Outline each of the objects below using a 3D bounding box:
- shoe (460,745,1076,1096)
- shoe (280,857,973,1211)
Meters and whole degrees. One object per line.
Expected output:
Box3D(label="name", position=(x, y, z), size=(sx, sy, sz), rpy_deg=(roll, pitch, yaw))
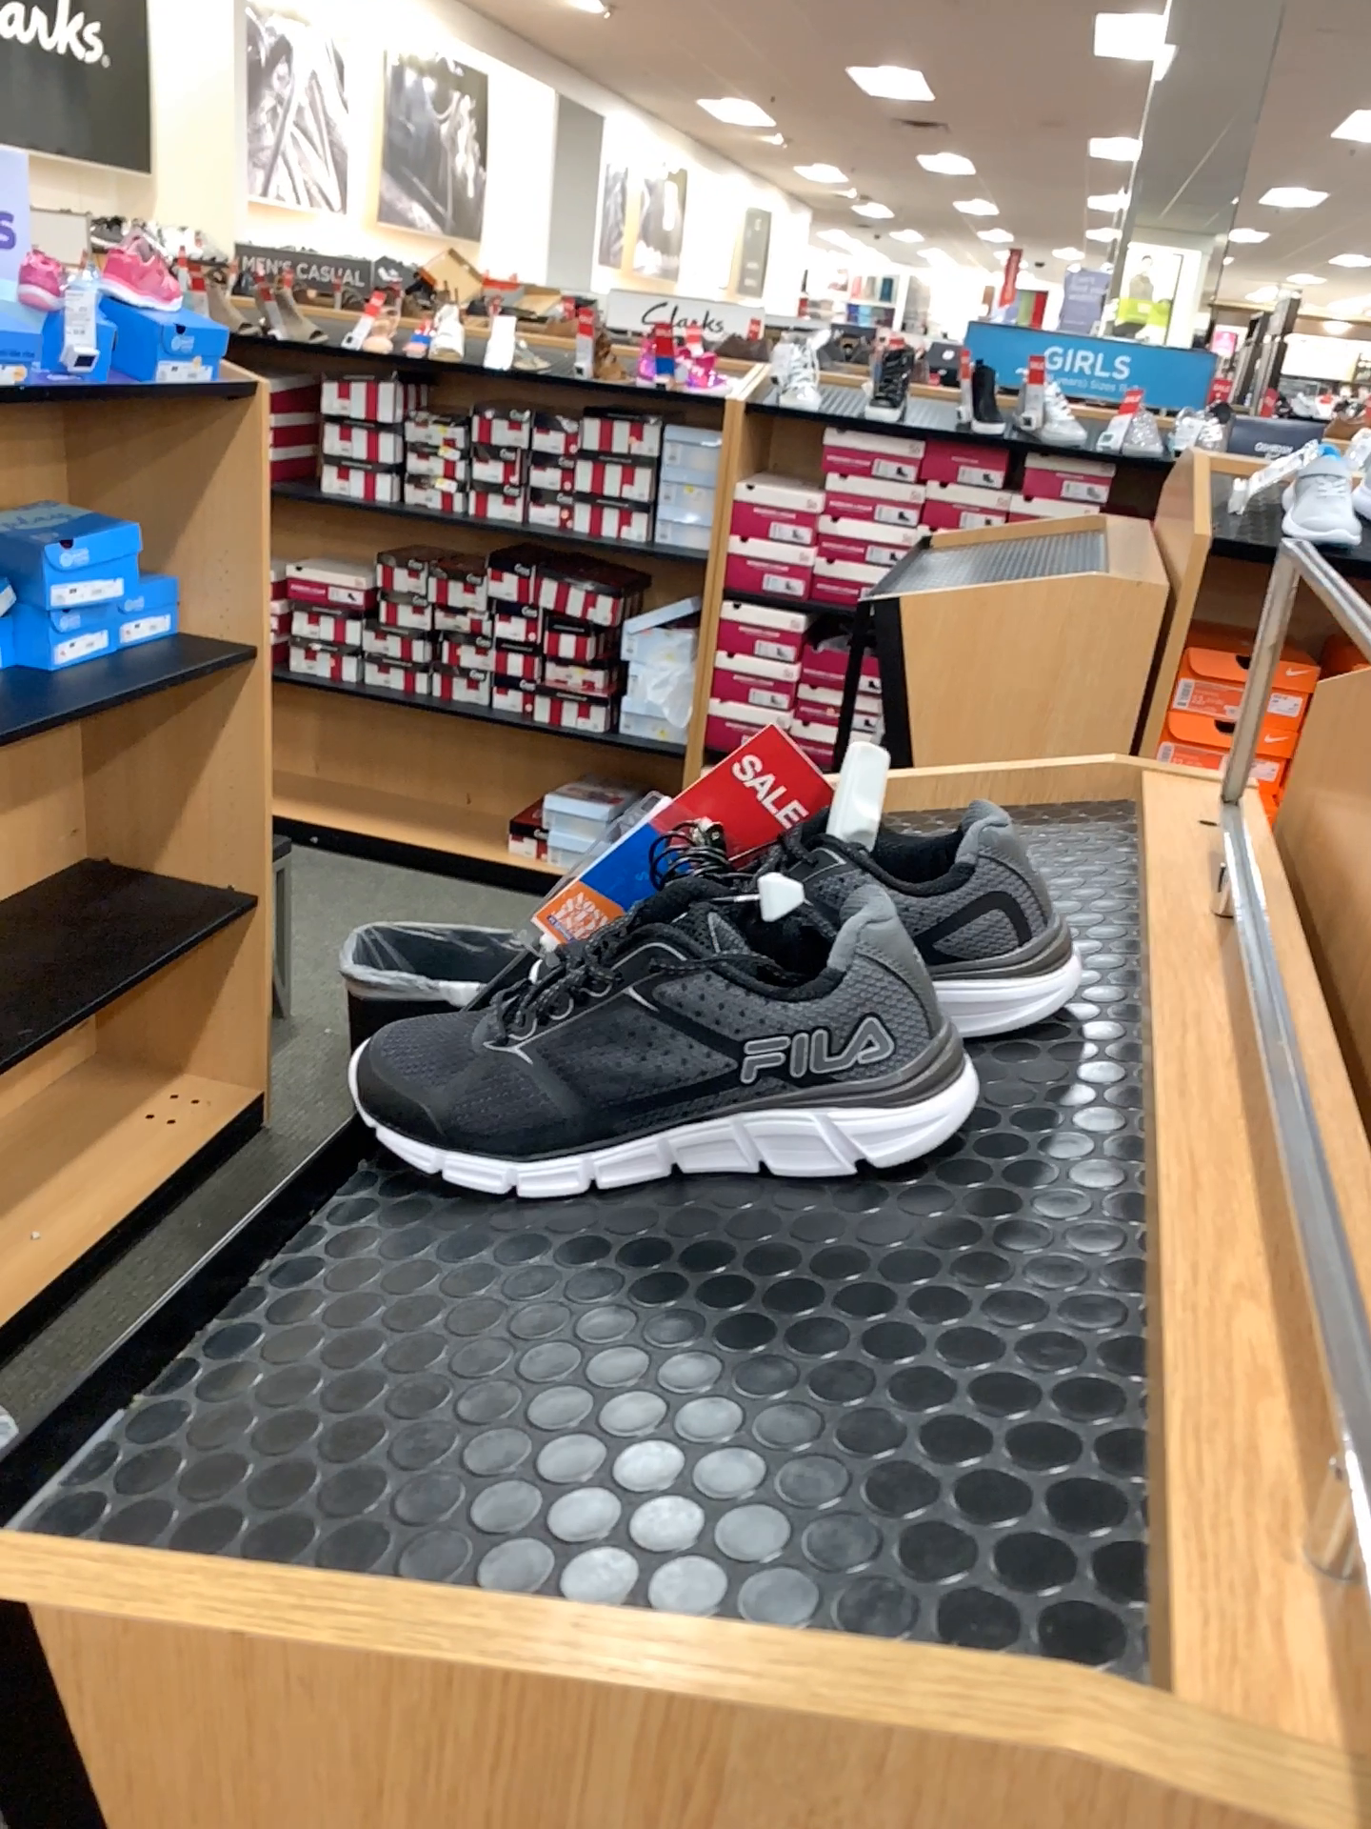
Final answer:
Box3D(label="shoe", position=(0.039, 0.002, 0.631), size=(0.244, 0.090, 0.100), rpy_deg=(-9, 21, 11))
Box3D(label="shoe", position=(-0.016, 0.045, 0.553), size=(0.244, 0.090, 0.100), rpy_deg=(-7, 10, 12))
